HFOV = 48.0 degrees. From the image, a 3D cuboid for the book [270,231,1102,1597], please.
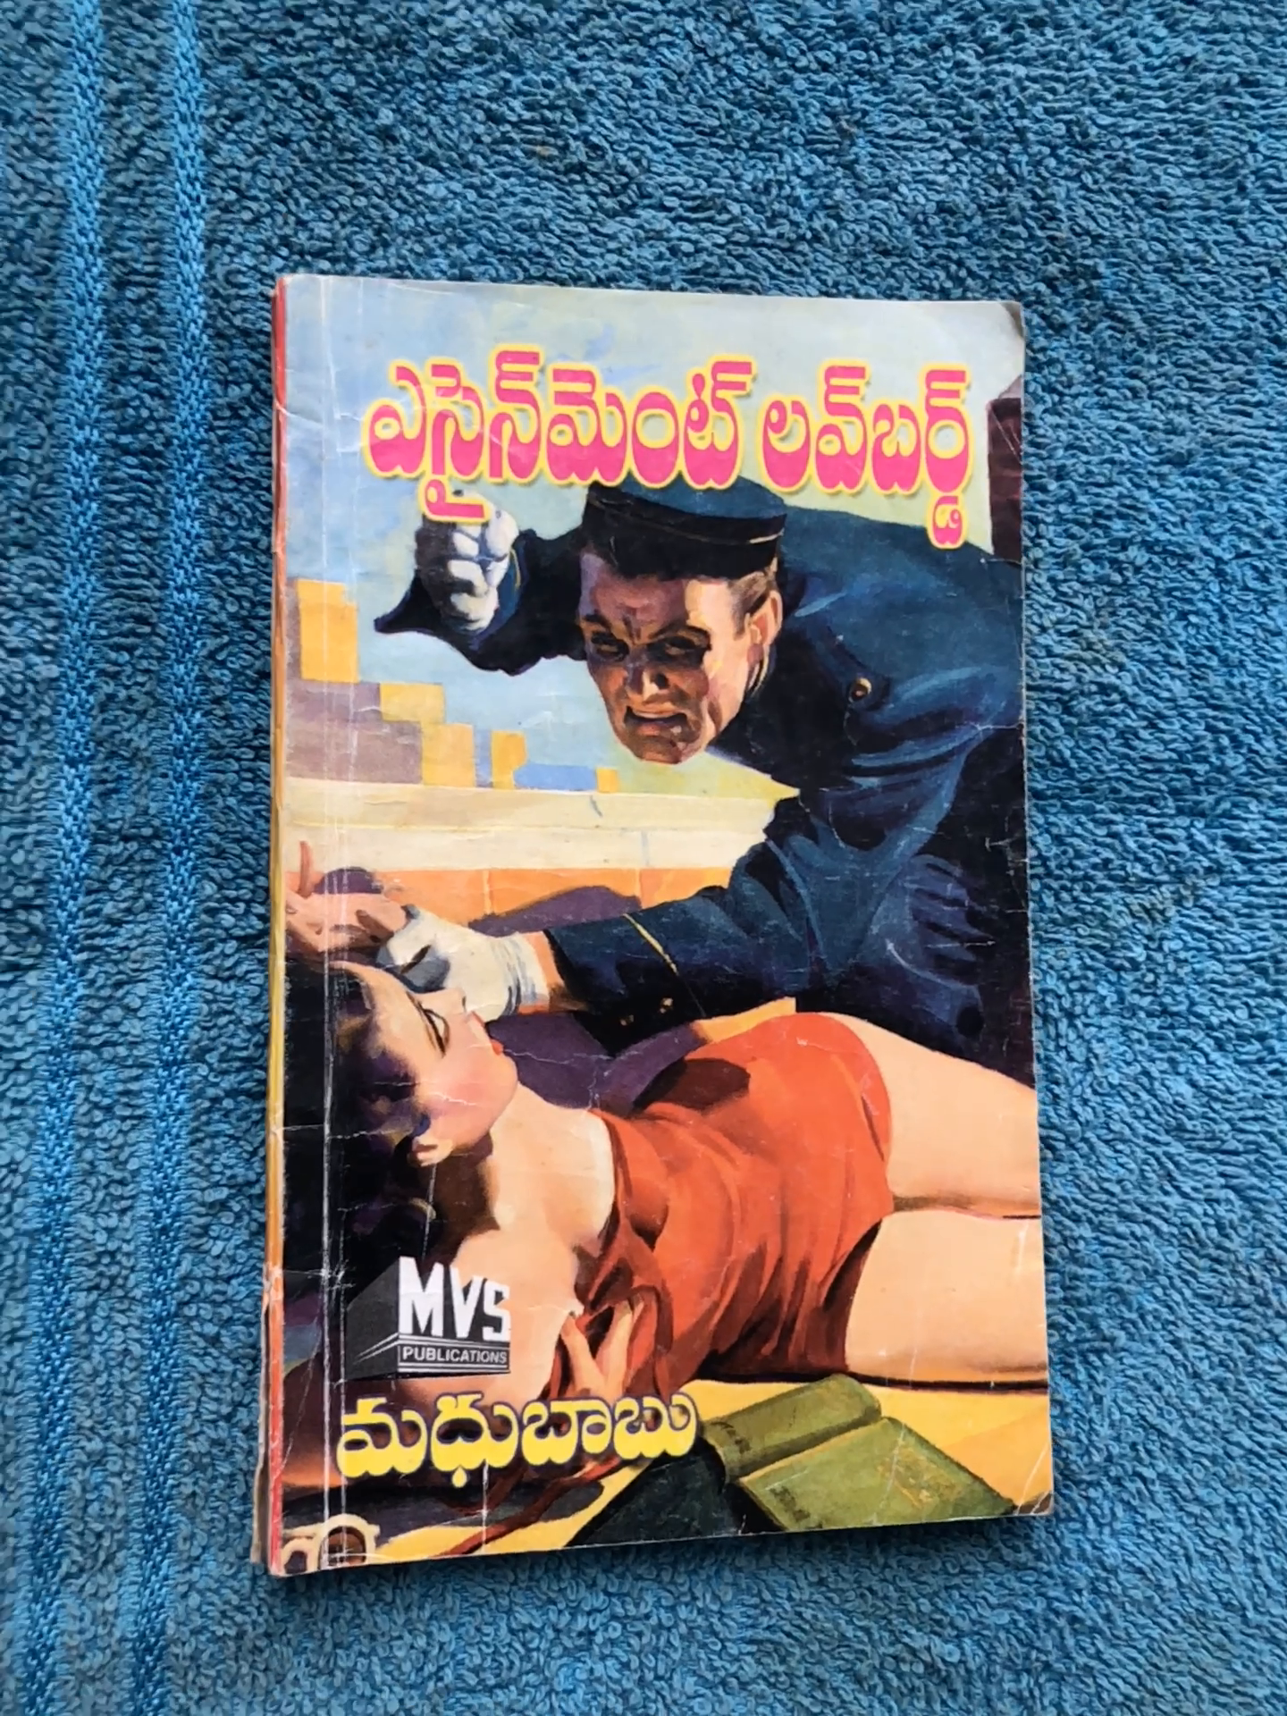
[{"bbox_3d":[0.004,0.005,0.192,0.100,0.030,0.160,0,85,-9],"label":"book"}]
